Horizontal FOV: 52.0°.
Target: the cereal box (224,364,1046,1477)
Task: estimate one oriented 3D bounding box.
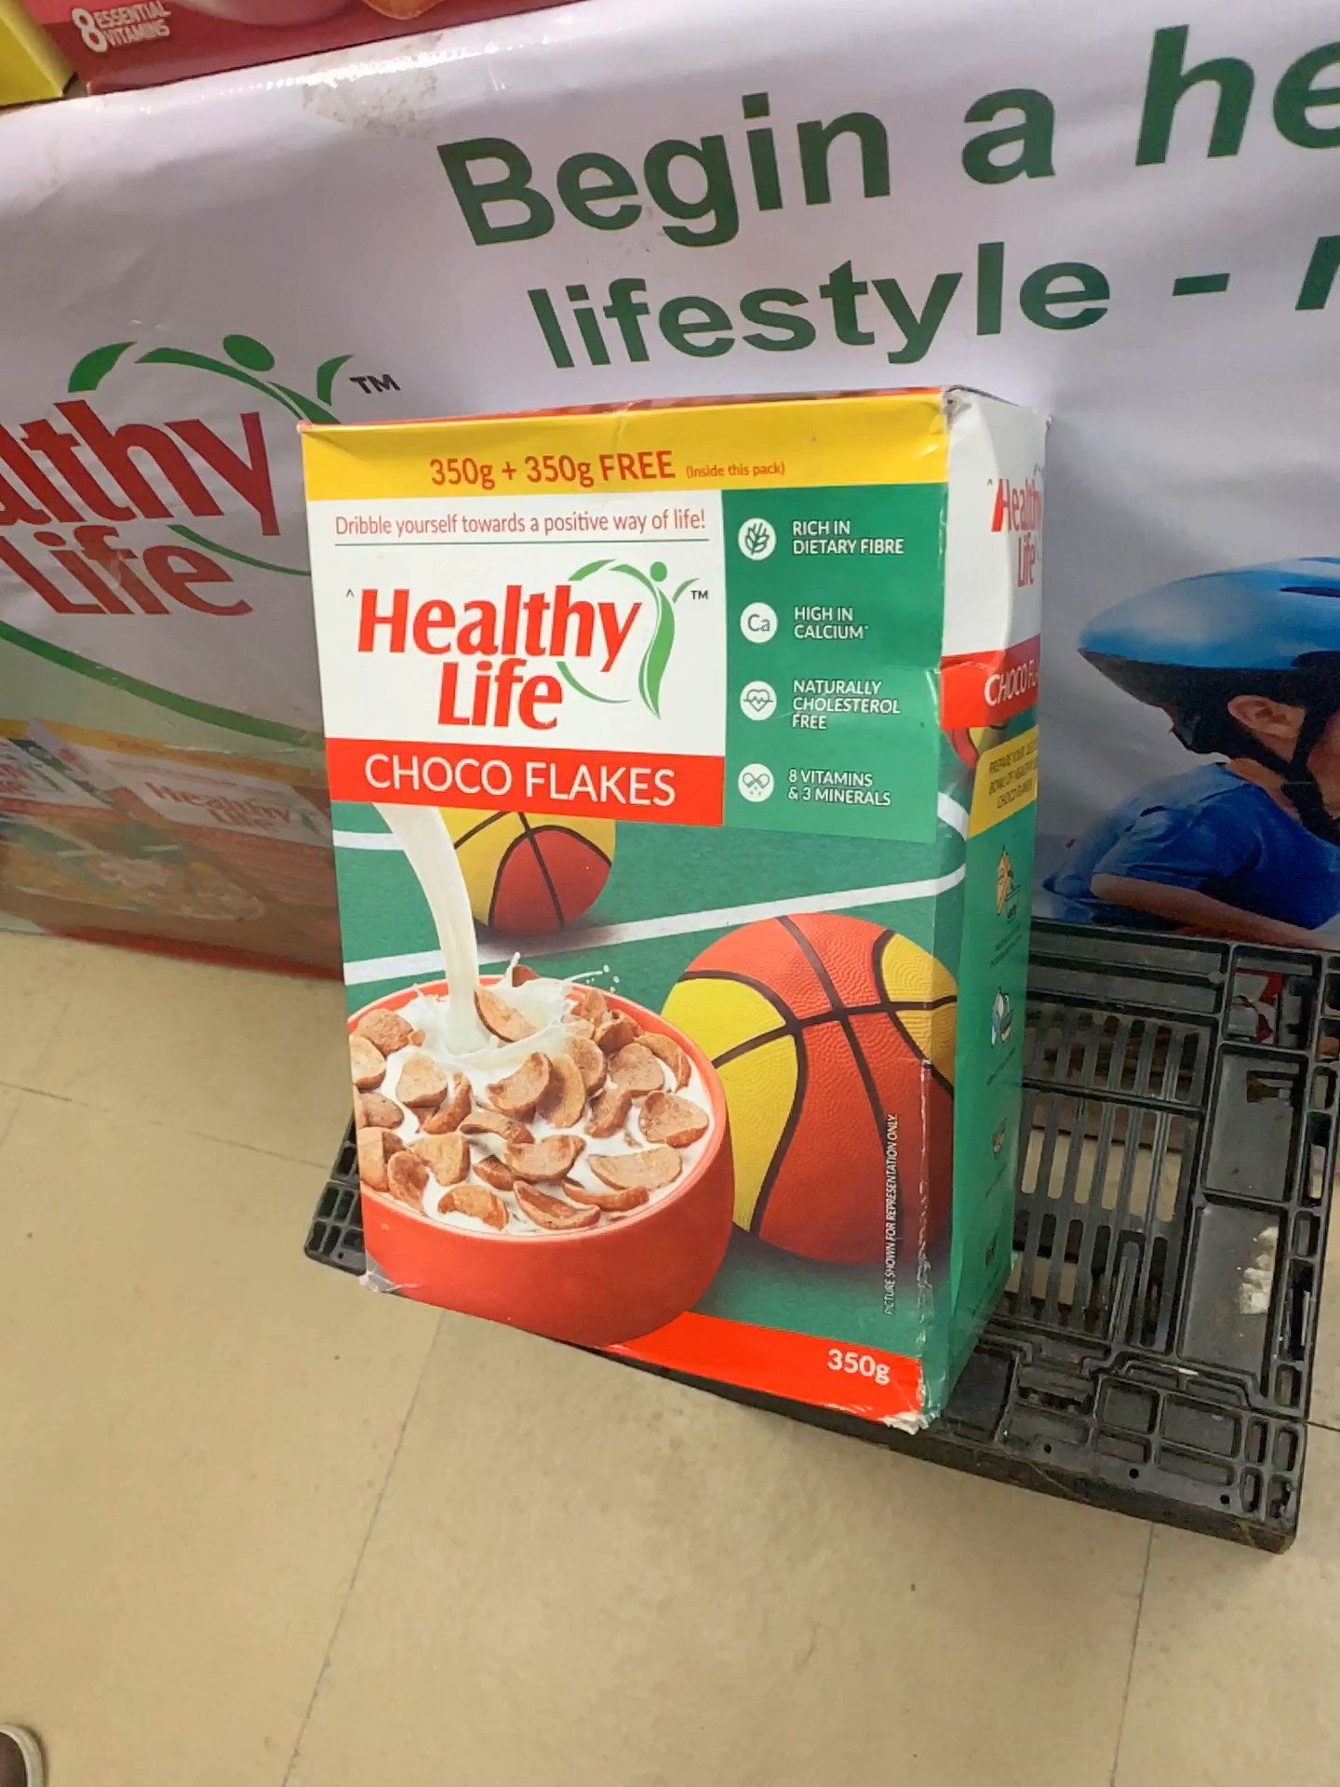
[{"bbox_3d":[-0.008,0.001,0.417,0.211,0.090,0.280,6,107,26],"label":"cereal box"}]
